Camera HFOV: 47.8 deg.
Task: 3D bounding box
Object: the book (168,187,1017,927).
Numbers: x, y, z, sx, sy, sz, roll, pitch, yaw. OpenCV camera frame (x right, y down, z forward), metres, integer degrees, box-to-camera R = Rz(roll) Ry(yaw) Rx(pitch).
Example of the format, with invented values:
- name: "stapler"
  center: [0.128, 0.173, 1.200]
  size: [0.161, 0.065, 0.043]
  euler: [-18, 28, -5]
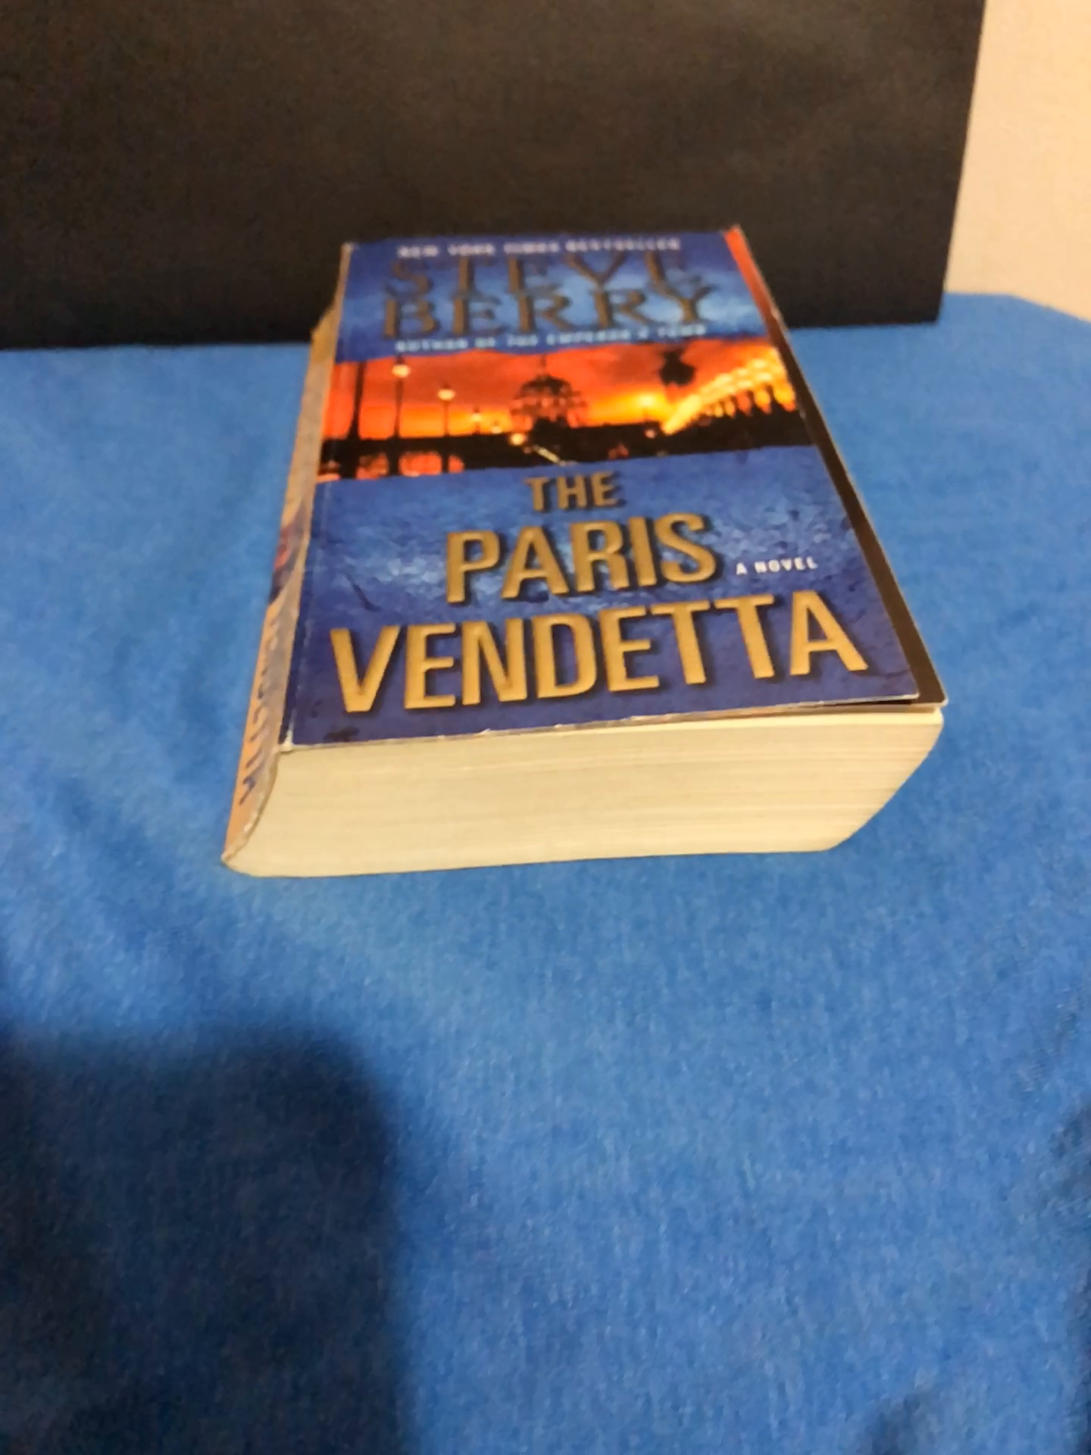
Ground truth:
- name: "book"
  center: [-0.002, -0.053, 0.263]
  size: [0.120, 0.050, 0.201]
  euler: [0, 41, -7]
